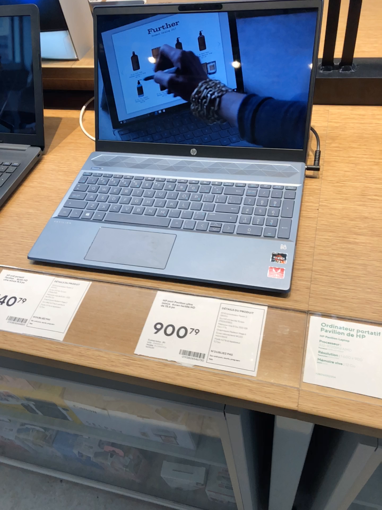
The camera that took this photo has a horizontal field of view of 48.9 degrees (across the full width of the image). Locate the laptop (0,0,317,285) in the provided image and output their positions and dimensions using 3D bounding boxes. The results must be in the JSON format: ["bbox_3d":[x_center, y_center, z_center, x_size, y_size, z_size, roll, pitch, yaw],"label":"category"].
[{"bbox_3d":[-0.022,-0.178,0.573,0.338,0.185,0.357,7,50,14],"label":"laptop"}]
